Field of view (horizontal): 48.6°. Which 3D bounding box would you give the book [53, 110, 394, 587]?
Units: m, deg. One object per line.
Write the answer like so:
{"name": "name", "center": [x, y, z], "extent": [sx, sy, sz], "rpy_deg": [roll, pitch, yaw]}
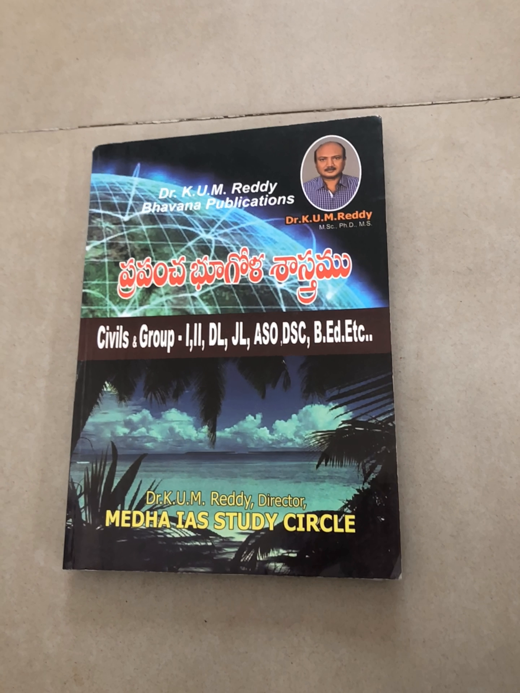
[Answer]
{"name": "book", "center": [-0.021, -0.004, 0.337], "extent": [0.180, 0.030, 0.260], "rpy_deg": [-2, 78, 9]}
